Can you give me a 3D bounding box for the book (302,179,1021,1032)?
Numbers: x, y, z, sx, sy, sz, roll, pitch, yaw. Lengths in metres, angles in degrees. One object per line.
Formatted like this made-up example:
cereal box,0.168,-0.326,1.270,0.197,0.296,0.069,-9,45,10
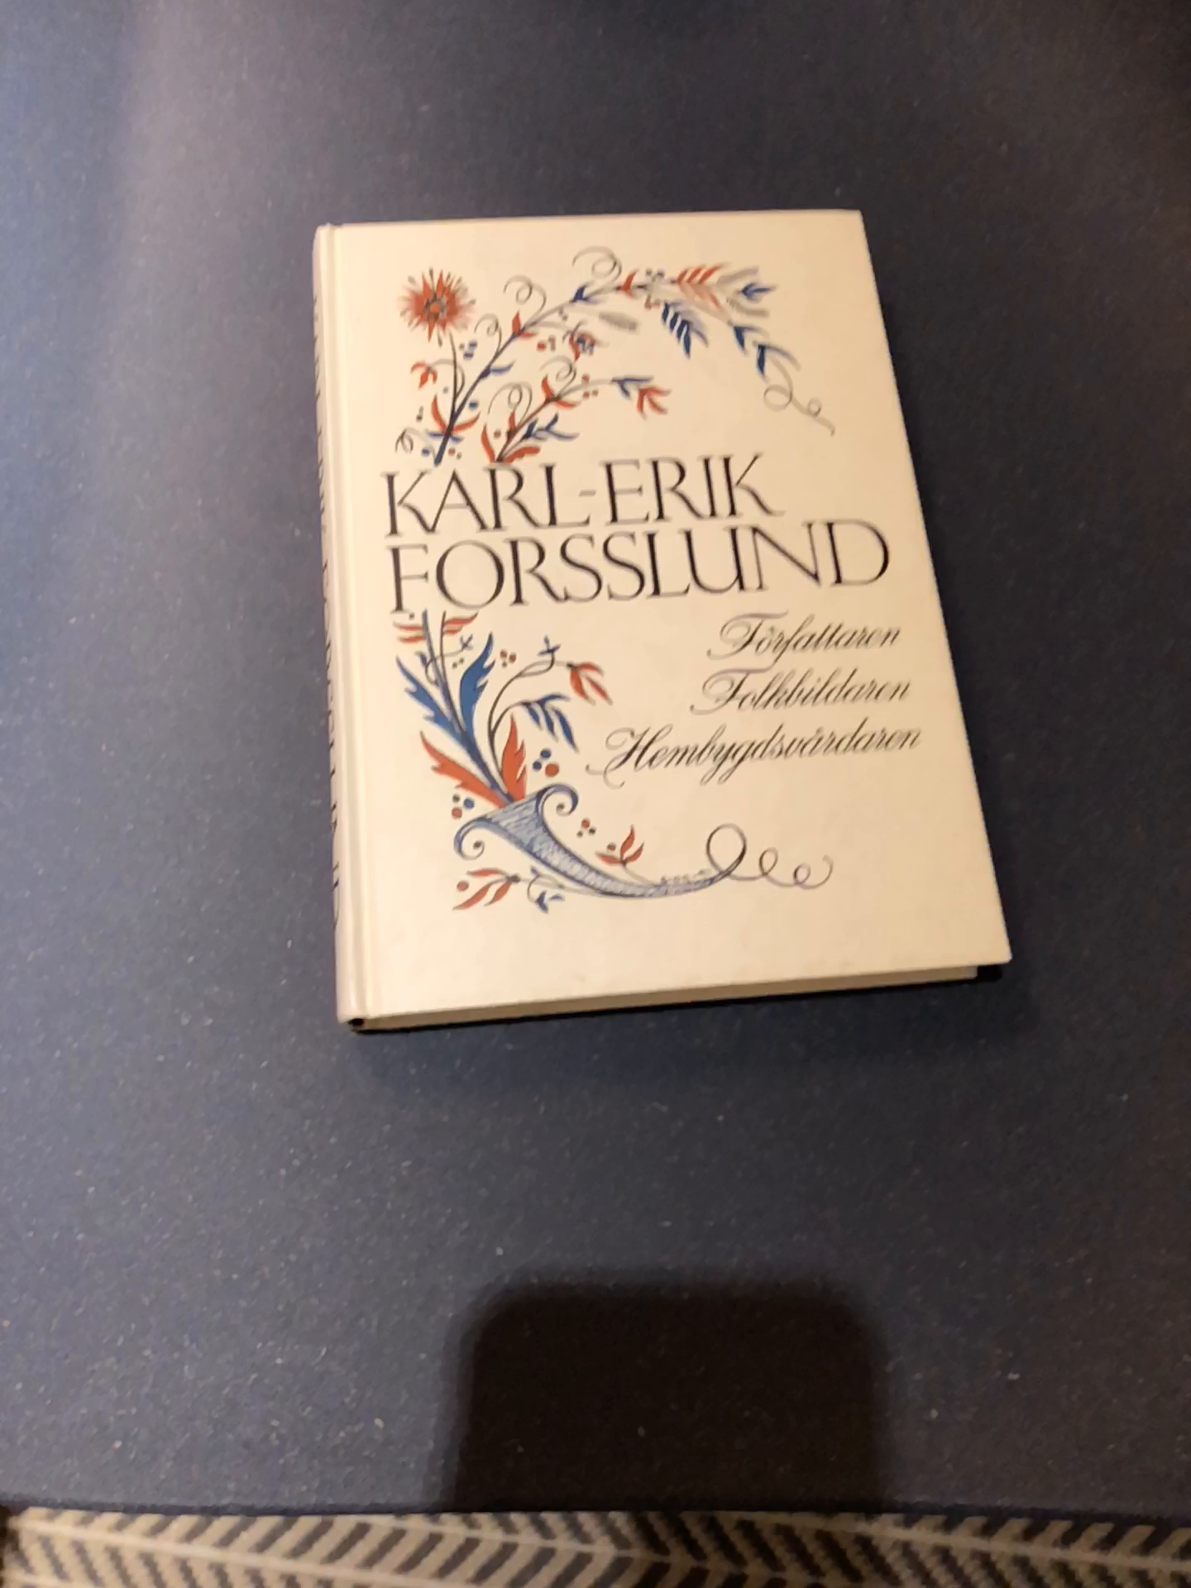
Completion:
book,0.008,-0.061,0.360,0.164,0.028,0.232,-4,71,-4
